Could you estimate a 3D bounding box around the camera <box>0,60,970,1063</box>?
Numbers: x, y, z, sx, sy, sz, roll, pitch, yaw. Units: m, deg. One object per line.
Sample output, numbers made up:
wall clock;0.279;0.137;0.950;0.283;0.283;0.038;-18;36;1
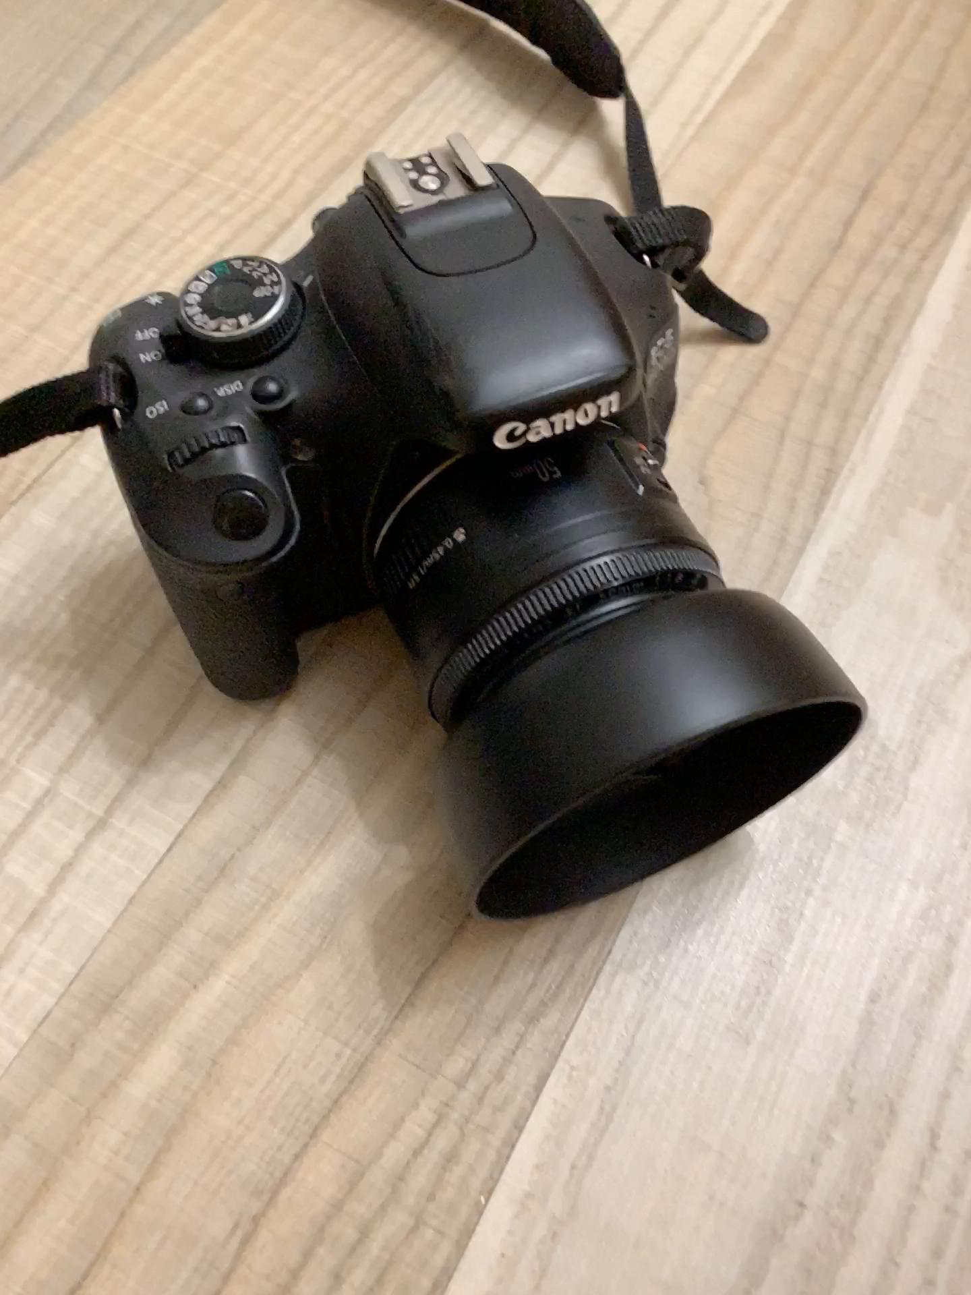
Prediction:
camera;-0.003;-0.022;0.210;0.139;0.090;0.151;-20;63;-12
